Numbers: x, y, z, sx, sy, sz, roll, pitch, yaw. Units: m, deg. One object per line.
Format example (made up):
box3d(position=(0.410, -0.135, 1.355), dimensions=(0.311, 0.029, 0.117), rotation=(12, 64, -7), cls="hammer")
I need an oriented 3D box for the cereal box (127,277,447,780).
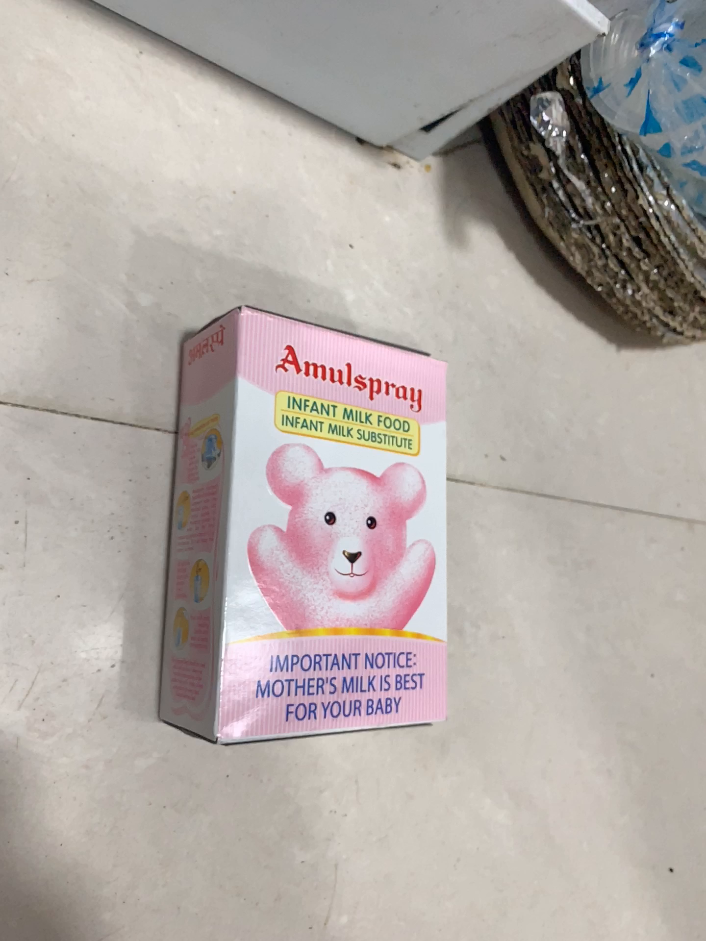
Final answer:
box3d(position=(-0.019, 0.021, 0.250), dimensions=(0.090, 0.050, 0.140), rotation=(8, 78, -35), cls="cereal box")
